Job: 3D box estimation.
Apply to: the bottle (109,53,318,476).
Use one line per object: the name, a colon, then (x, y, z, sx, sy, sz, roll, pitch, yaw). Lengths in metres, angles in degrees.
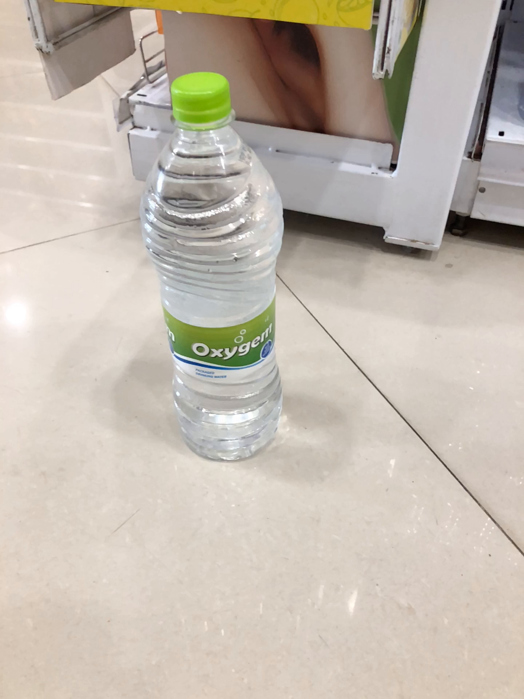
bottle: (-0.024, -0.034, 0.367, 0.090, 0.258, 0.081, -5, 43, -5)
